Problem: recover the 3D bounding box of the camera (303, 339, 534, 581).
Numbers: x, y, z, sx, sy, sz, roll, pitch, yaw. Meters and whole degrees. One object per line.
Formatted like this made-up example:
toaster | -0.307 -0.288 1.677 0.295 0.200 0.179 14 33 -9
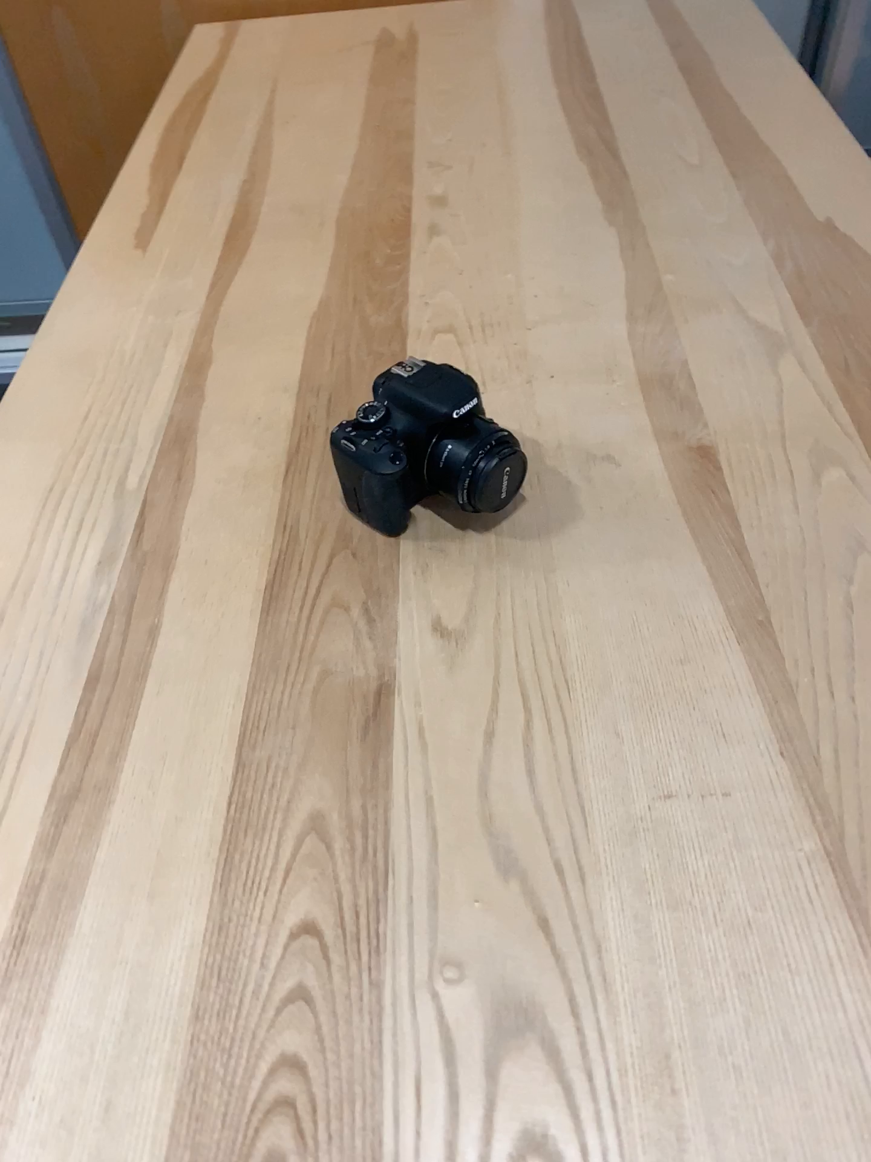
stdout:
camera | -0.009 -0.093 0.665 0.112 0.094 0.120 35 60 30
